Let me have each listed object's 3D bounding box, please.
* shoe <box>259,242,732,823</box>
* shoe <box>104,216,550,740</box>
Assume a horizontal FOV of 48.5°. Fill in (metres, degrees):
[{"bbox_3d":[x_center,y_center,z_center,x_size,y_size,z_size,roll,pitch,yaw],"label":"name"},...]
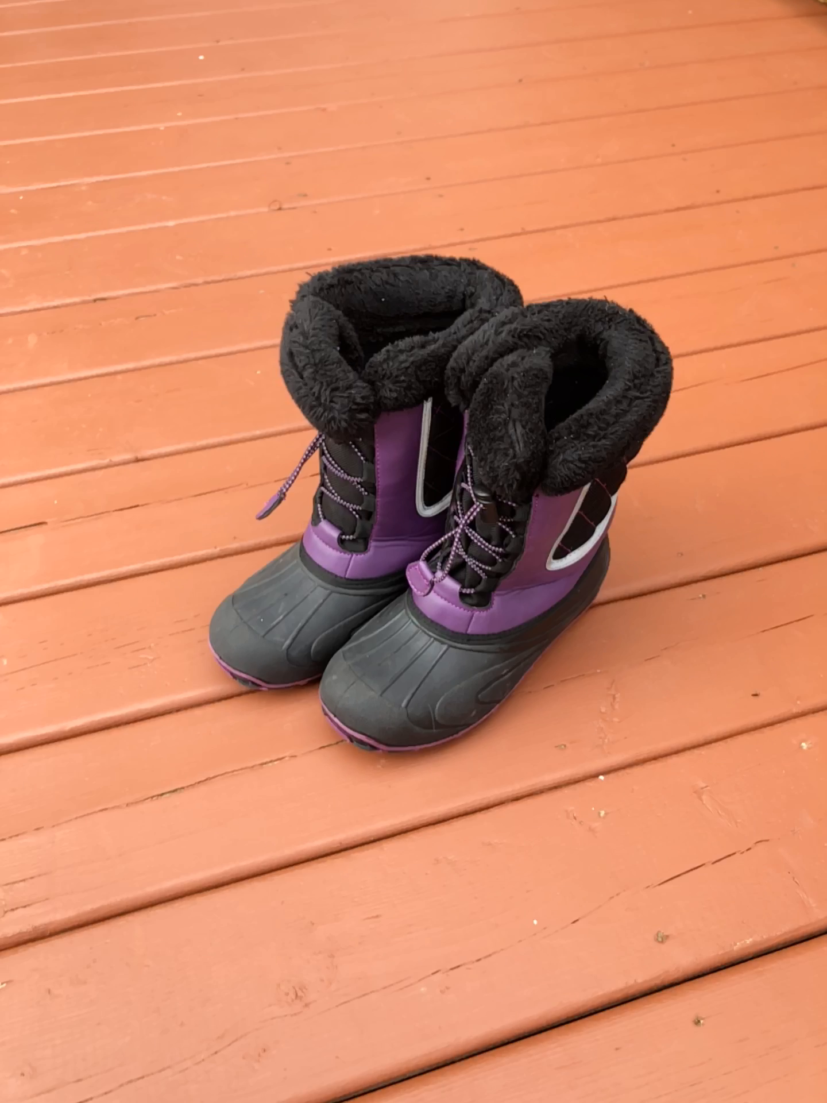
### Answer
[{"bbox_3d":[0.049,-0.006,0.592,0.240,0.279,0.120,-35,57,-28],"label":"shoe"},{"bbox_3d":[-0.048,-0.046,0.651,0.240,0.279,0.120,-31,56,-25],"label":"shoe"}]
